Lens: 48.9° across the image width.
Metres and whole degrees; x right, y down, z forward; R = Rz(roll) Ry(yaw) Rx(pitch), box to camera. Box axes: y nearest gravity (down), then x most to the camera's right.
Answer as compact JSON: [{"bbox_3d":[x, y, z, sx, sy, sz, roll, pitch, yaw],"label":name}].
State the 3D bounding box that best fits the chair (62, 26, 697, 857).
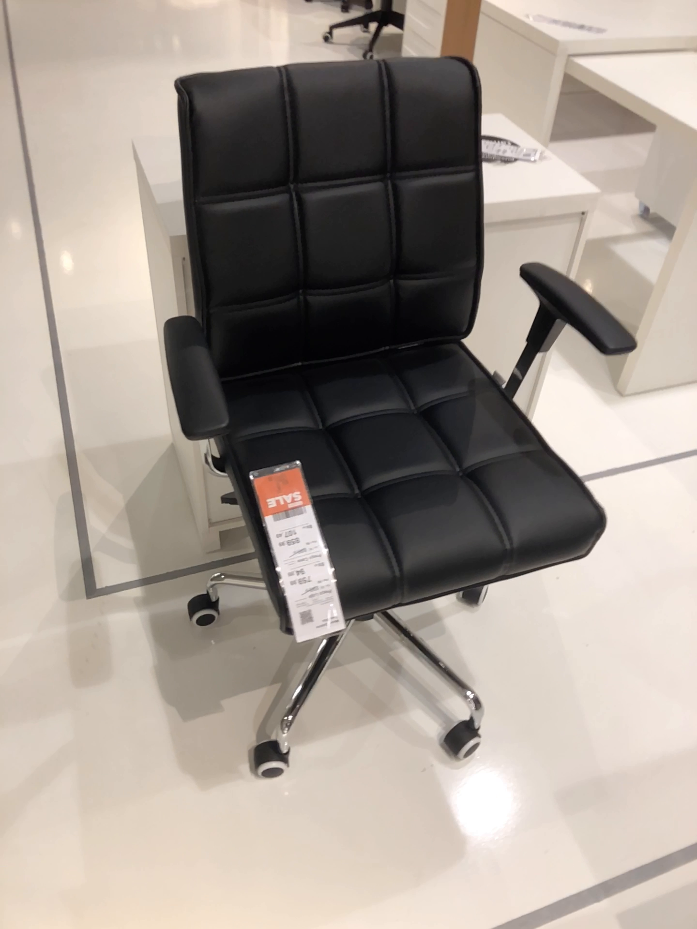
[{"bbox_3d":[0.022,-0.052,1.187,0.621,0.913,0.744,-14,46,-19],"label":"chair"}]
